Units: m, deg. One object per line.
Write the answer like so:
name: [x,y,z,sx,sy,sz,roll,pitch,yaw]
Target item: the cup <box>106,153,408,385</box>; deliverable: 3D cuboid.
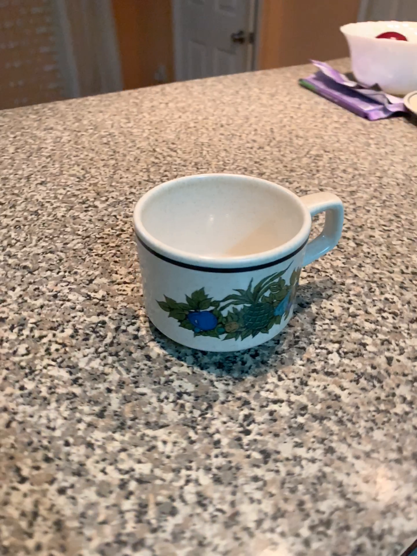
cup: [0.019,-0.014,0.224,0.117,0.054,0.088,-16,41,-20]
